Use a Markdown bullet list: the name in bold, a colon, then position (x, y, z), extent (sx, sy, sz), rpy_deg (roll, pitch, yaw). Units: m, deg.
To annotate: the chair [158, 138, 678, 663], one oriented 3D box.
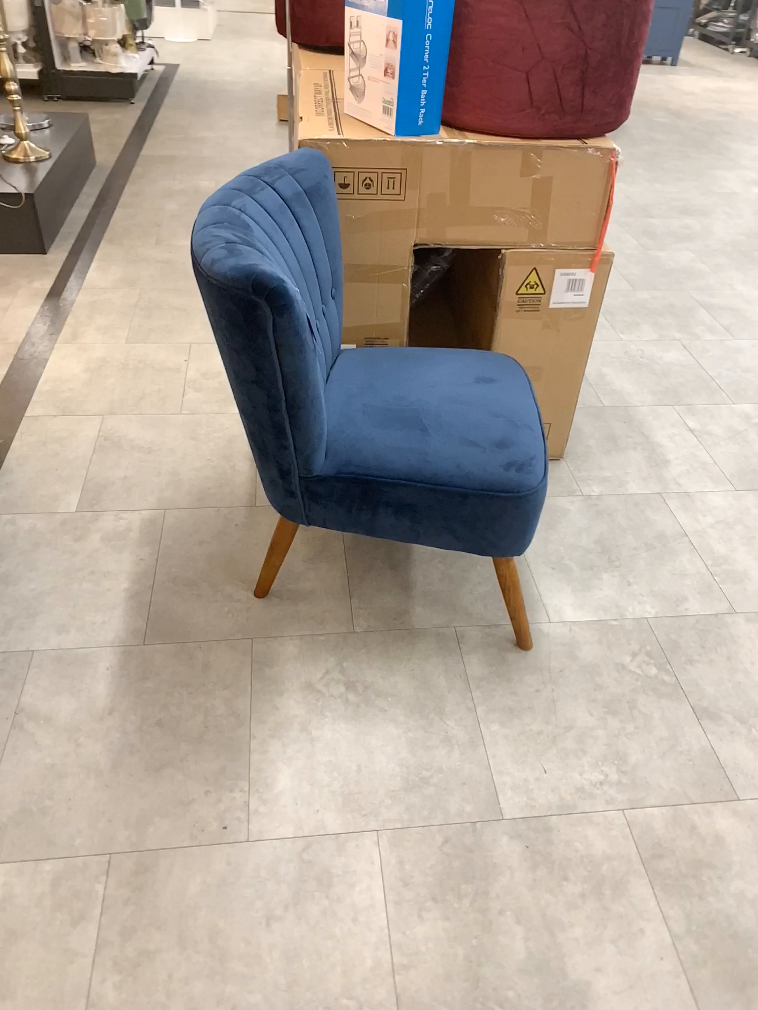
- **chair**: position (0.033, -0.227, 1.602), extent (0.725, 0.789, 0.737), rpy_deg (2, 39, -3)
